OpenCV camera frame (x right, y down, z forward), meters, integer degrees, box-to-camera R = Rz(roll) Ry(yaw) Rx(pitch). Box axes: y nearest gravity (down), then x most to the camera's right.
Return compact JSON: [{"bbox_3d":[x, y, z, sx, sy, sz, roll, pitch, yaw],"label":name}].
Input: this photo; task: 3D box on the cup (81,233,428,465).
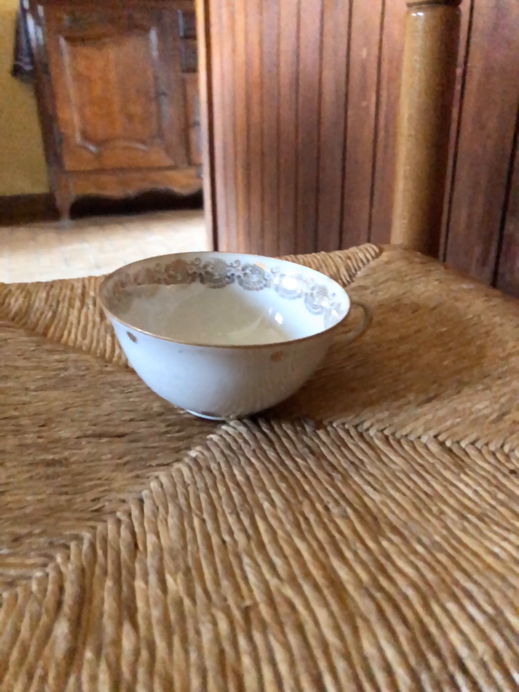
[{"bbox_3d":[-0.011,-0.009,0.268,0.130,0.050,0.110,-8,26,-15],"label":"cup"}]
